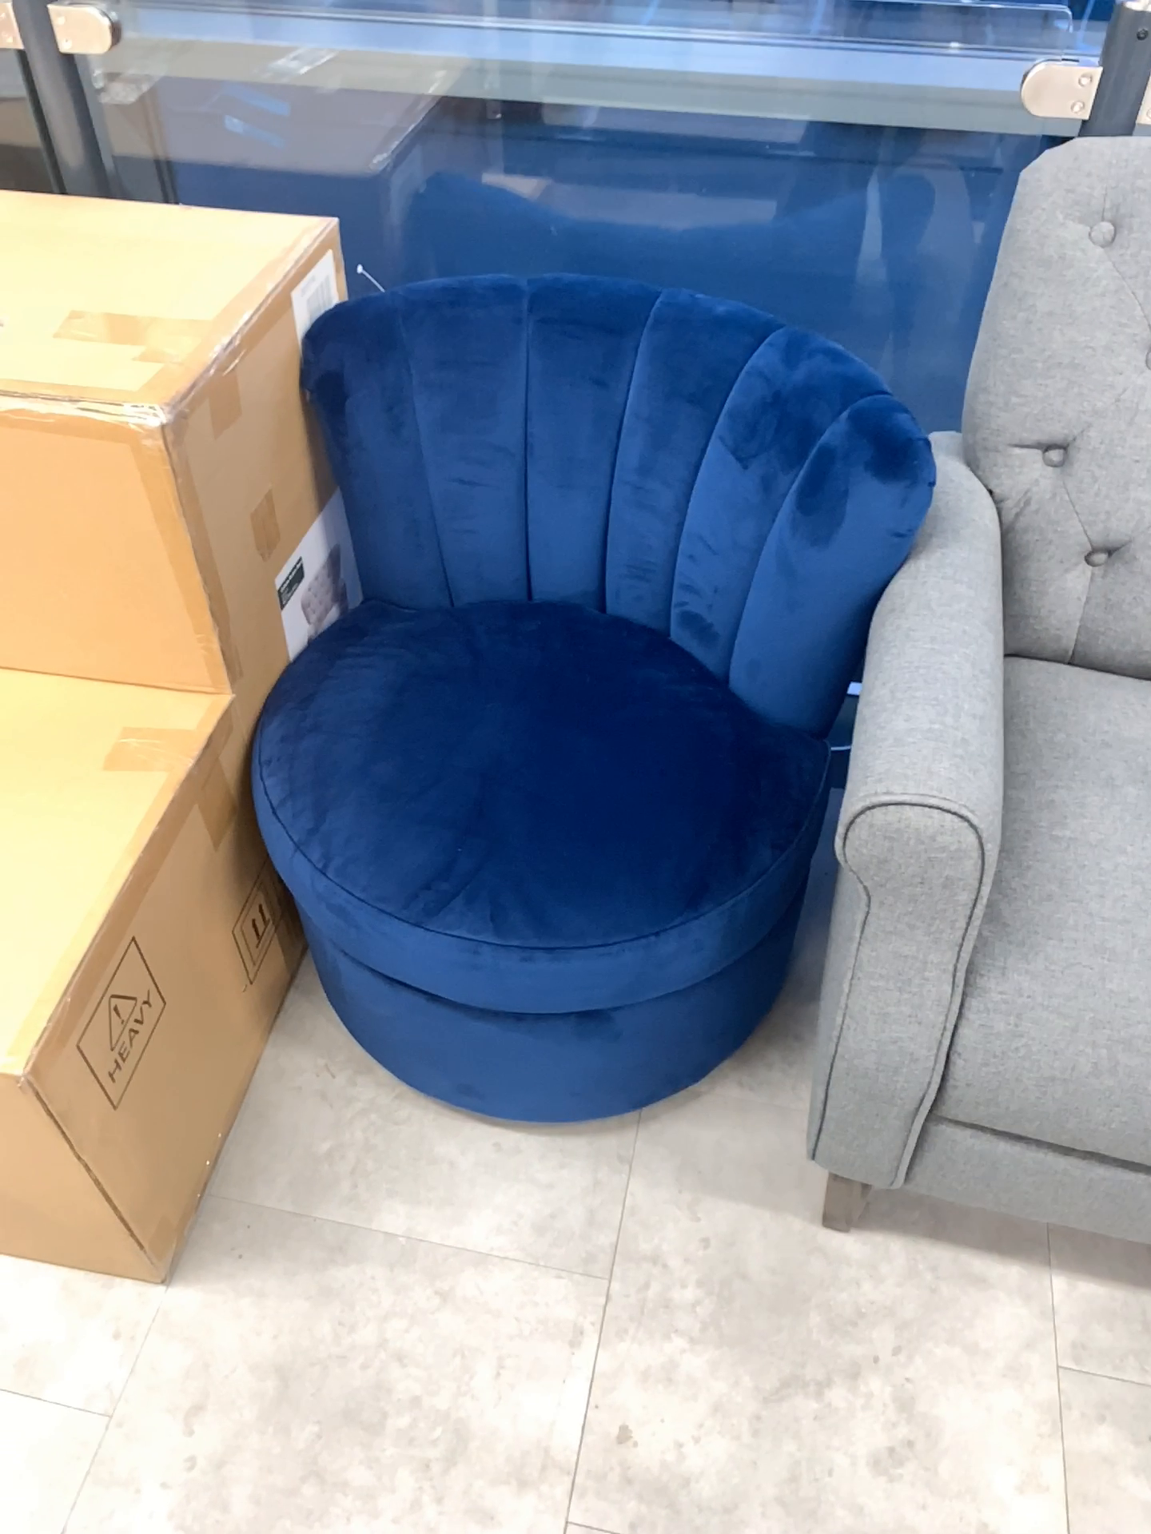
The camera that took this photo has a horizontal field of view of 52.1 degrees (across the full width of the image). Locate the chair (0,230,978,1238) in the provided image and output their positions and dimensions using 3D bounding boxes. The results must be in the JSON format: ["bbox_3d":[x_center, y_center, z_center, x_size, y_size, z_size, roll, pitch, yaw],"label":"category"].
[{"bbox_3d":[-0.019,-0.057,1.252,0.641,0.674,0.665,14,48,14],"label":"chair"}]
